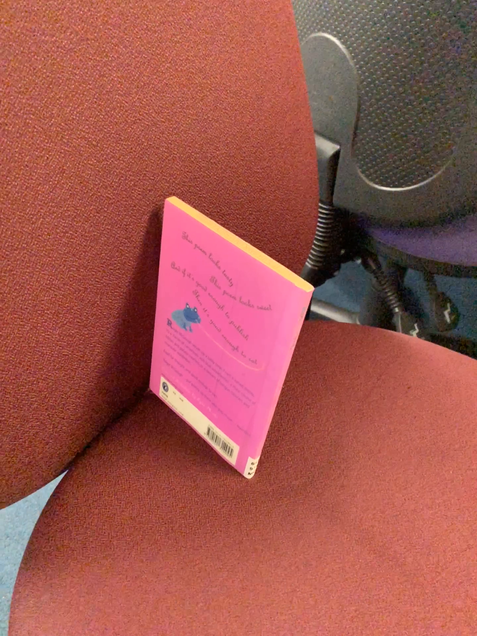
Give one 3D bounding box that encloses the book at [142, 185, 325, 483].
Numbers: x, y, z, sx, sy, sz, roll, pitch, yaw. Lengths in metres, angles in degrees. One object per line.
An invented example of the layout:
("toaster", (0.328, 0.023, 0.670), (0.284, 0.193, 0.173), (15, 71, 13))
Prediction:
("book", (-0.020, 0.018, 0.369), (0.141, 0.189, 0.017), (35, 44, 29))
